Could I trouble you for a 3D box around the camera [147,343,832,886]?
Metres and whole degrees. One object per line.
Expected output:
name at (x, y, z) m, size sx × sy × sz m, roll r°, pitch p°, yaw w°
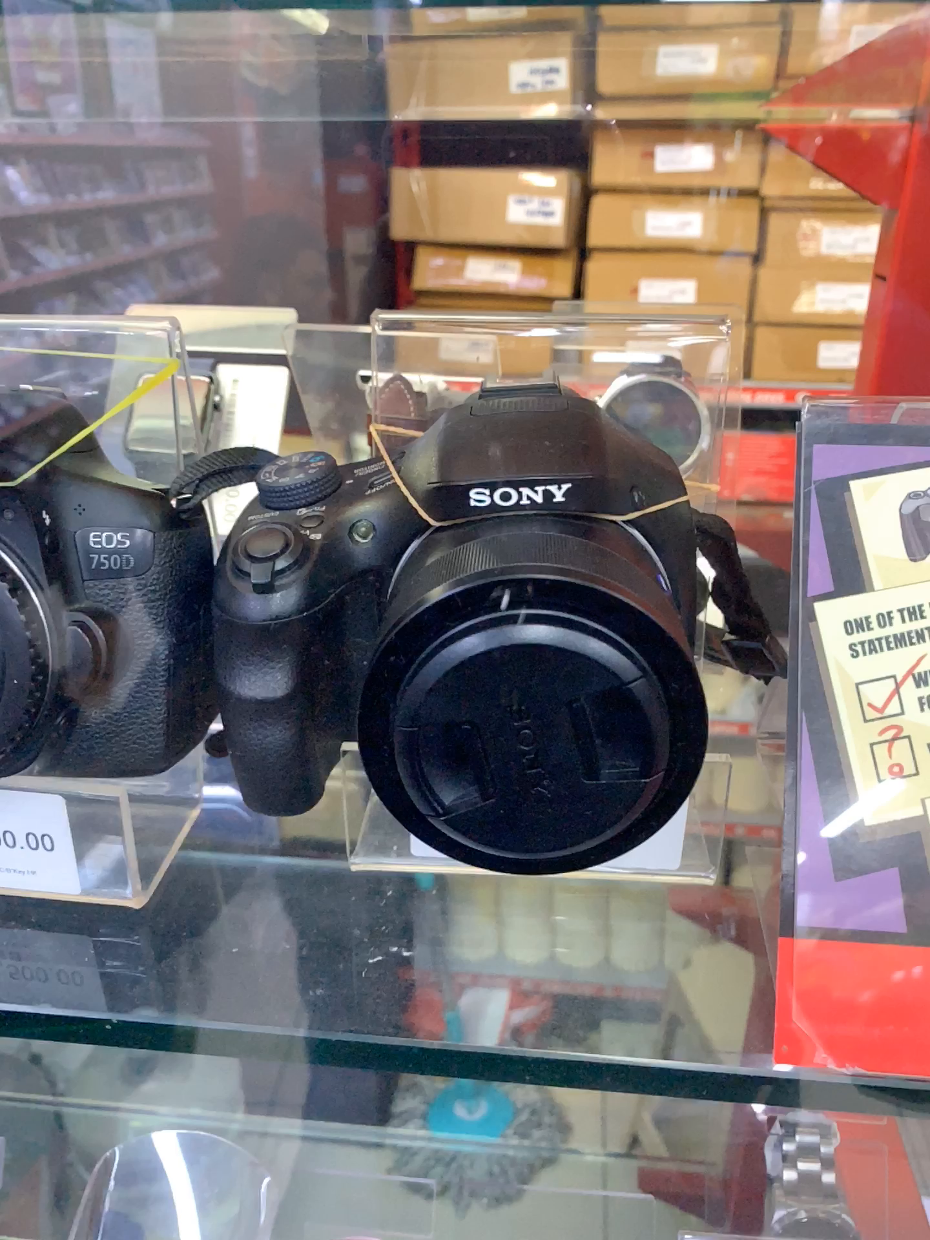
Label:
camera at (0.005, -0.007, 0.231) m, size 0.120 × 0.100 × 0.090 m, roll 1°, pitch 25°, yaw 1°
